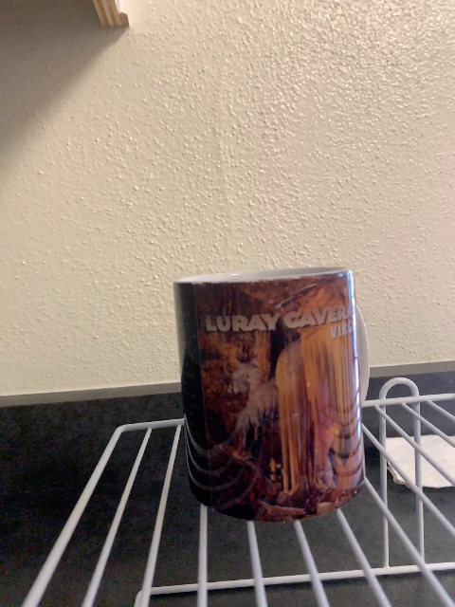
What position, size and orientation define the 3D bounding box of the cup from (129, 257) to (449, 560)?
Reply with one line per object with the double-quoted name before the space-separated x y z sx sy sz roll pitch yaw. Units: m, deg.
"cup" 0.032 0.029 0.216 0.120 0.090 0.080 -9 9 -37
